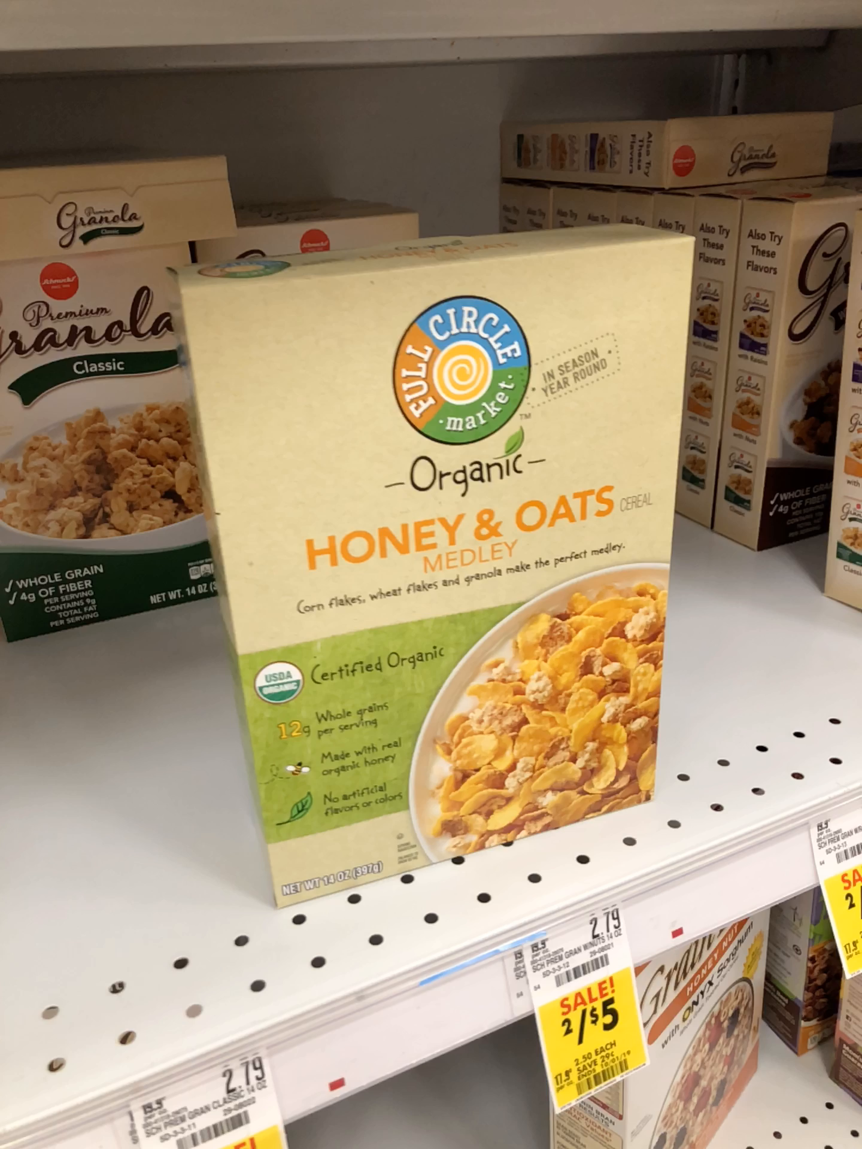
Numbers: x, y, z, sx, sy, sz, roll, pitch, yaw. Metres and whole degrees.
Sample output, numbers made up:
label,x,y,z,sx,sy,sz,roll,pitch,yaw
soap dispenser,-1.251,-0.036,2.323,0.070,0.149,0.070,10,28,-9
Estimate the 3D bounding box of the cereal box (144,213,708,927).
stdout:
label,x,y,z,sx,sy,sz,roll,pitch,yaw
cereal box,0.004,-0.001,0.391,0.190,0.259,0.060,-11,26,-17
